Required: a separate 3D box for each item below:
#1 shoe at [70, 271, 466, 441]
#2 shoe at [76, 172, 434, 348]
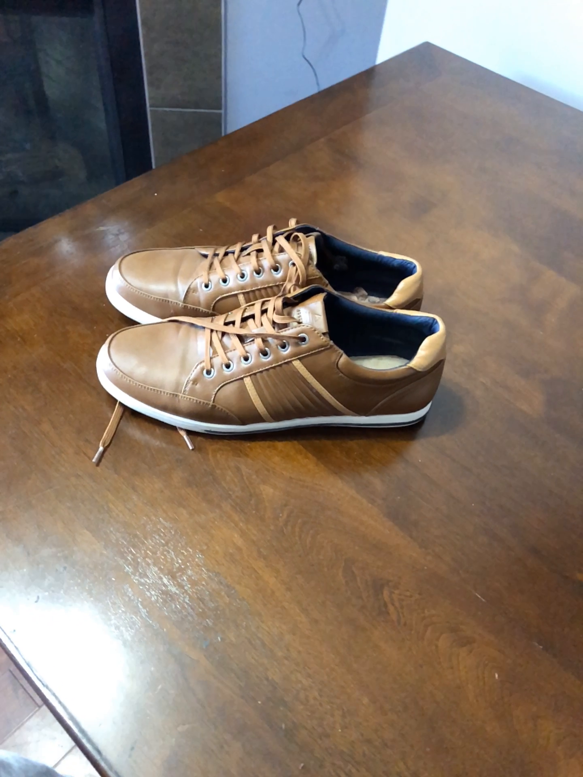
[{"bbox_3d":[-0.019,-0.026,0.538,0.290,0.080,0.110,1,51,-5],"label":"shoe"},{"bbox_3d":[-0.029,-0.117,0.587,0.290,0.080,0.110,5,51,-2],"label":"shoe"}]
